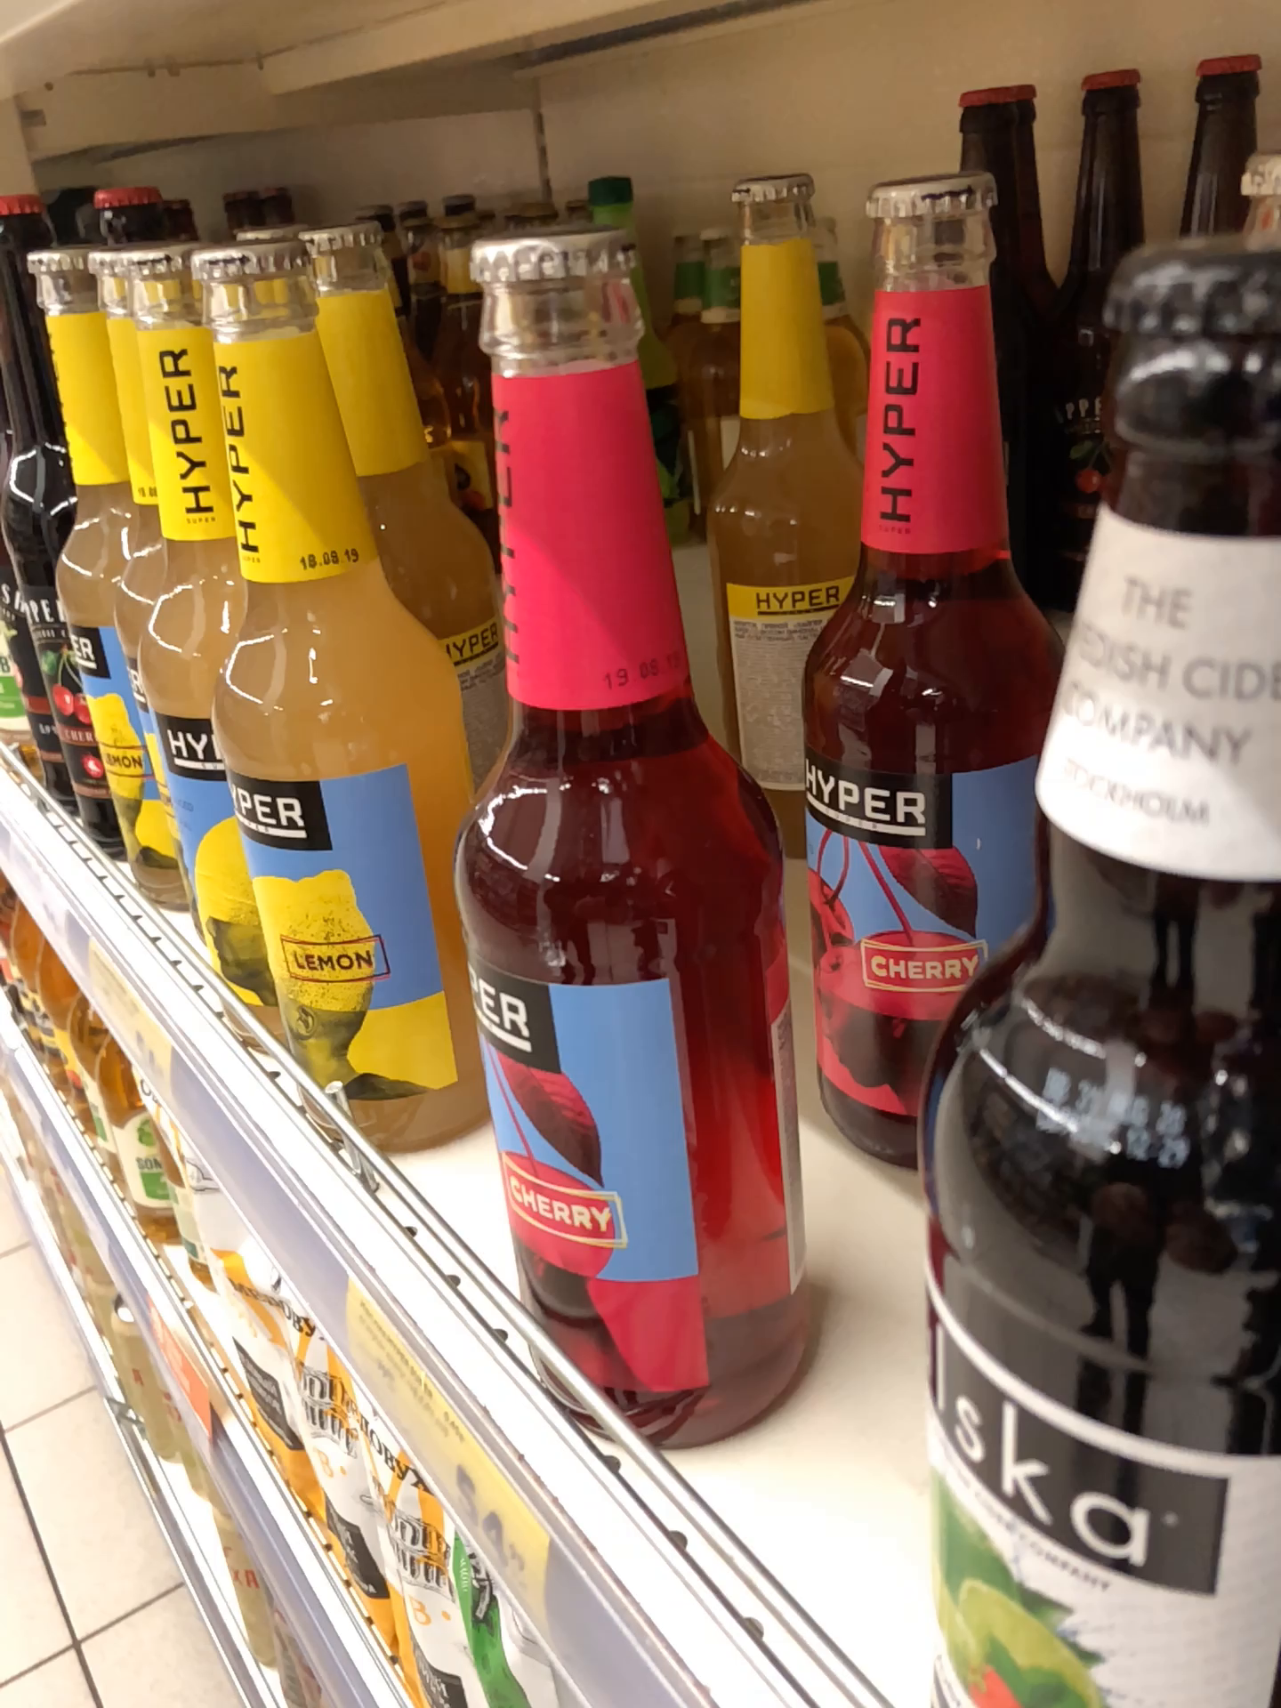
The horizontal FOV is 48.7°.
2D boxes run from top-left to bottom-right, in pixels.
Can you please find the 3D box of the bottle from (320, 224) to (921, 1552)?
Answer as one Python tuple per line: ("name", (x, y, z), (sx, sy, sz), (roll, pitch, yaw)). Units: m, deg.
("bottle", (0.002, 0.010, 0.284), (0.070, 0.243, 0.080), (-15, 26, -19))
